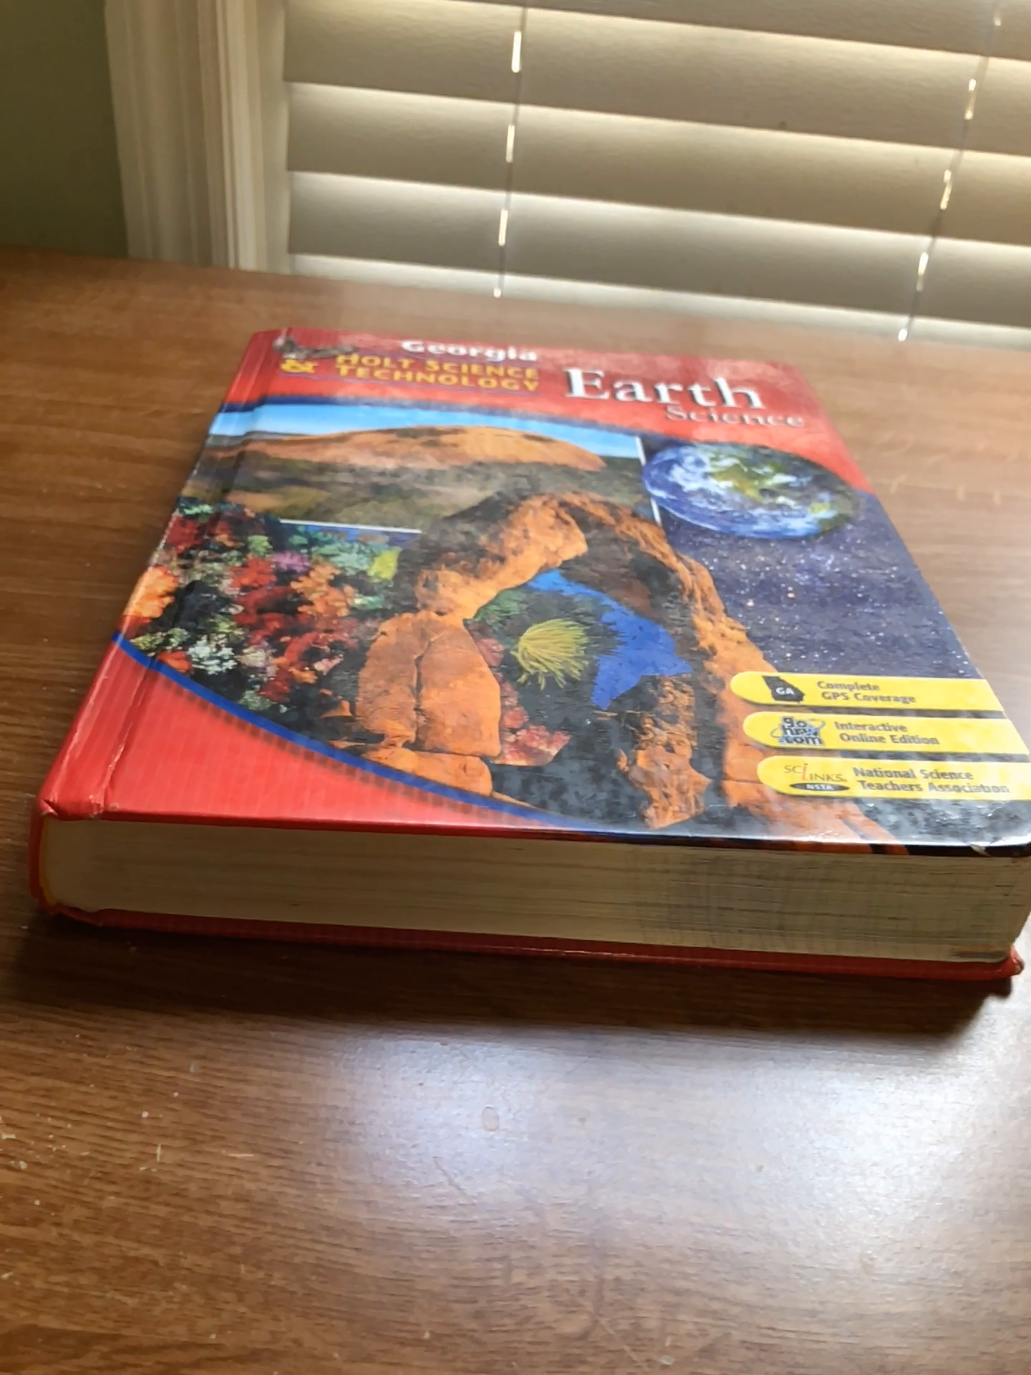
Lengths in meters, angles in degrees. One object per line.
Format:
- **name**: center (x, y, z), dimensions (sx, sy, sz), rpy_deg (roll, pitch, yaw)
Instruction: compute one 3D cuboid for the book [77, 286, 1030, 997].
- **book**: center (0.026, -0.040, 0.331), dimensions (0.214, 0.050, 0.267), rpy_deg (4, 36, -4)
